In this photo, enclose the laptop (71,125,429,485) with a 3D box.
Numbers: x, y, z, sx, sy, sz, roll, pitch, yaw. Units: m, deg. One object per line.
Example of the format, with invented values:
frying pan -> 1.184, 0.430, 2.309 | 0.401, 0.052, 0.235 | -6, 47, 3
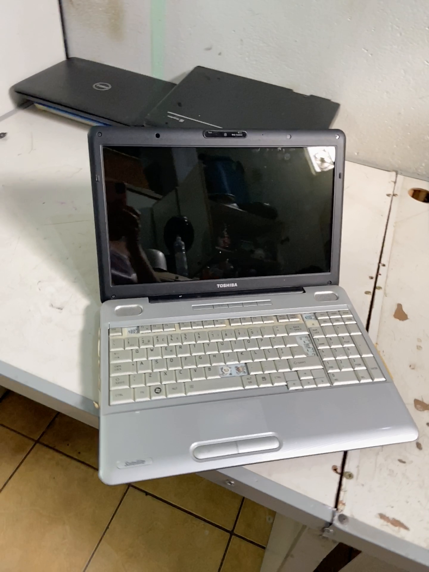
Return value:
laptop -> 0.036, -0.018, 0.557 | 0.371, 0.190, 0.401 | -4, 47, -11
